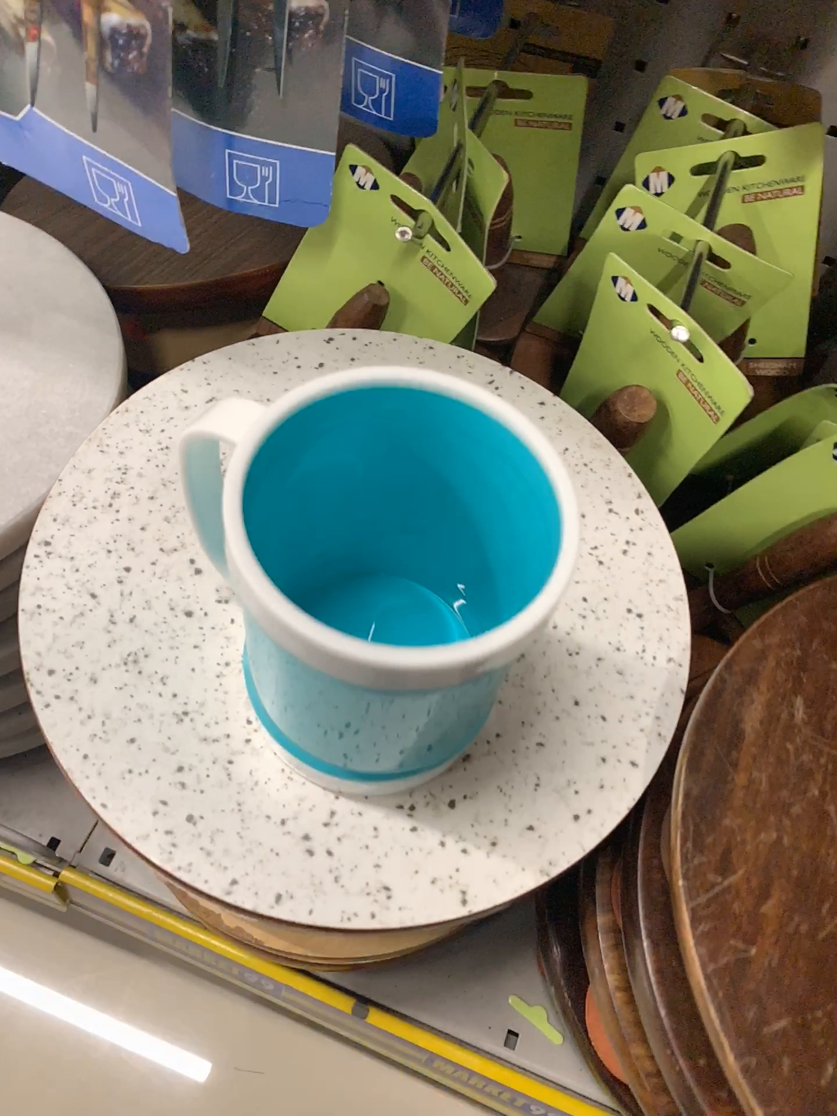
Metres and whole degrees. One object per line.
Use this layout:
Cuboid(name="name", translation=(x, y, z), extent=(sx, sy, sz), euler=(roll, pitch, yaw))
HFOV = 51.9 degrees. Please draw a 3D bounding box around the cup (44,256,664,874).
Cuboid(name="cup", translation=(-0.018, 0.008, 0.235), extent=(0.110, 0.110, 0.080), euler=(33, 60, 12))
